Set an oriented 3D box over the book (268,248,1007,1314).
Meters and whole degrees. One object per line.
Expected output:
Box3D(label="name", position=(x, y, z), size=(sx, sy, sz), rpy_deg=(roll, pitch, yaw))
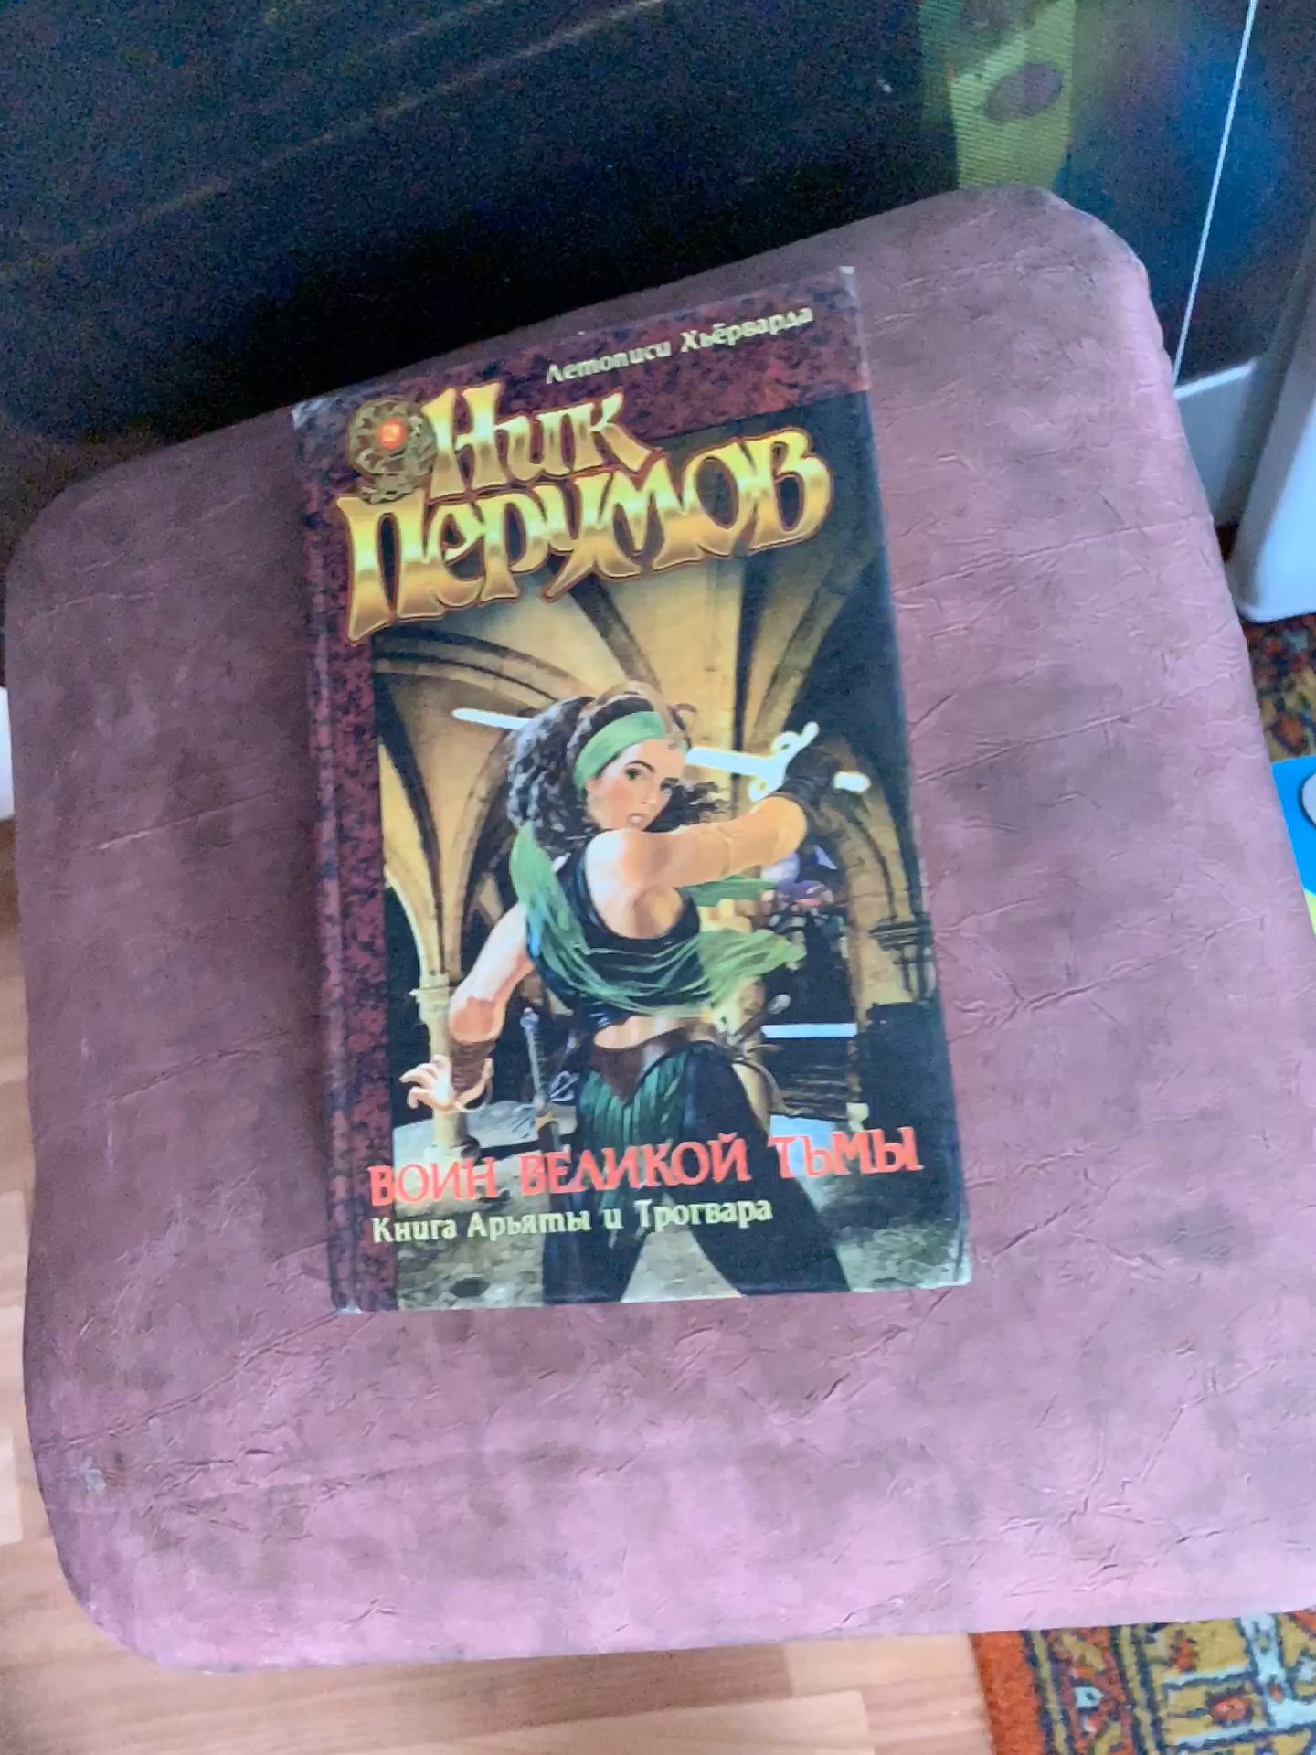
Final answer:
Box3D(label="book", position=(-0.010, -0.018, 0.298), size=(0.139, 0.037, 0.205), rpy_deg=(-8, 79, 14))
